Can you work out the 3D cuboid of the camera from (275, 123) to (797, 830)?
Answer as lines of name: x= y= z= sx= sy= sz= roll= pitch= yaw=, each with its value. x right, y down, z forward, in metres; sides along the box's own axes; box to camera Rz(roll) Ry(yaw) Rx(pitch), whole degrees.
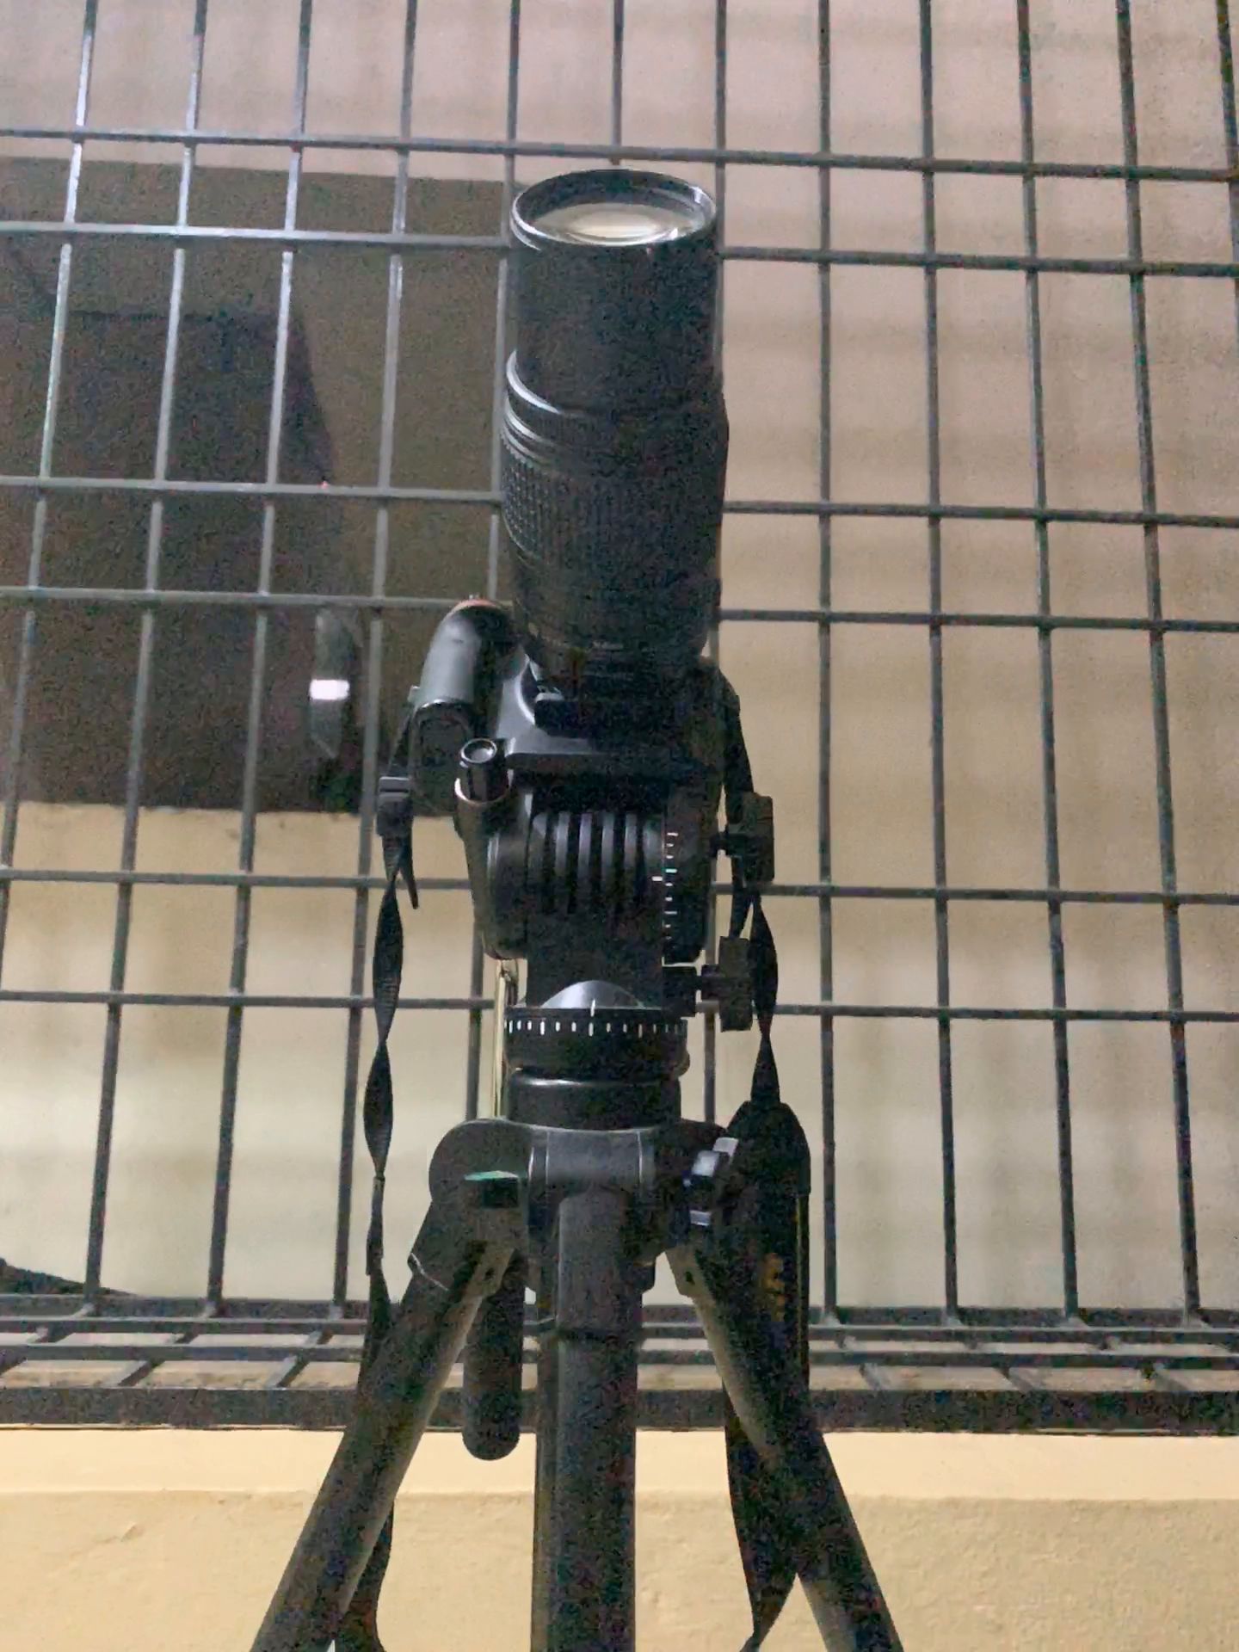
camera: x=-0.020 y=-0.112 z=0.437 sx=0.136 sy=0.101 sz=0.209 roll=1 pitch=-49 yaw=1
